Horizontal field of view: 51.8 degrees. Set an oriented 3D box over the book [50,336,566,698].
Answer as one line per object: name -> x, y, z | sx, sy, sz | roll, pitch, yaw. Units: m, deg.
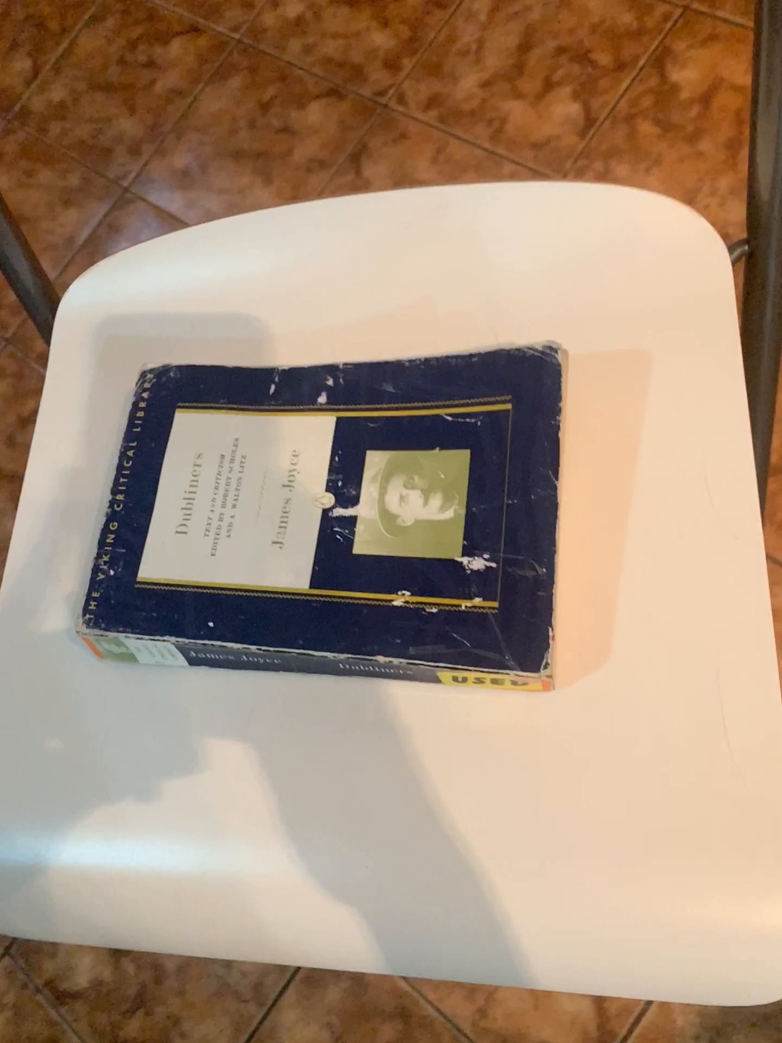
book -> -0.032, -0.003, 0.330 | 0.198, 0.035, 0.132 | 1, 75, 15
